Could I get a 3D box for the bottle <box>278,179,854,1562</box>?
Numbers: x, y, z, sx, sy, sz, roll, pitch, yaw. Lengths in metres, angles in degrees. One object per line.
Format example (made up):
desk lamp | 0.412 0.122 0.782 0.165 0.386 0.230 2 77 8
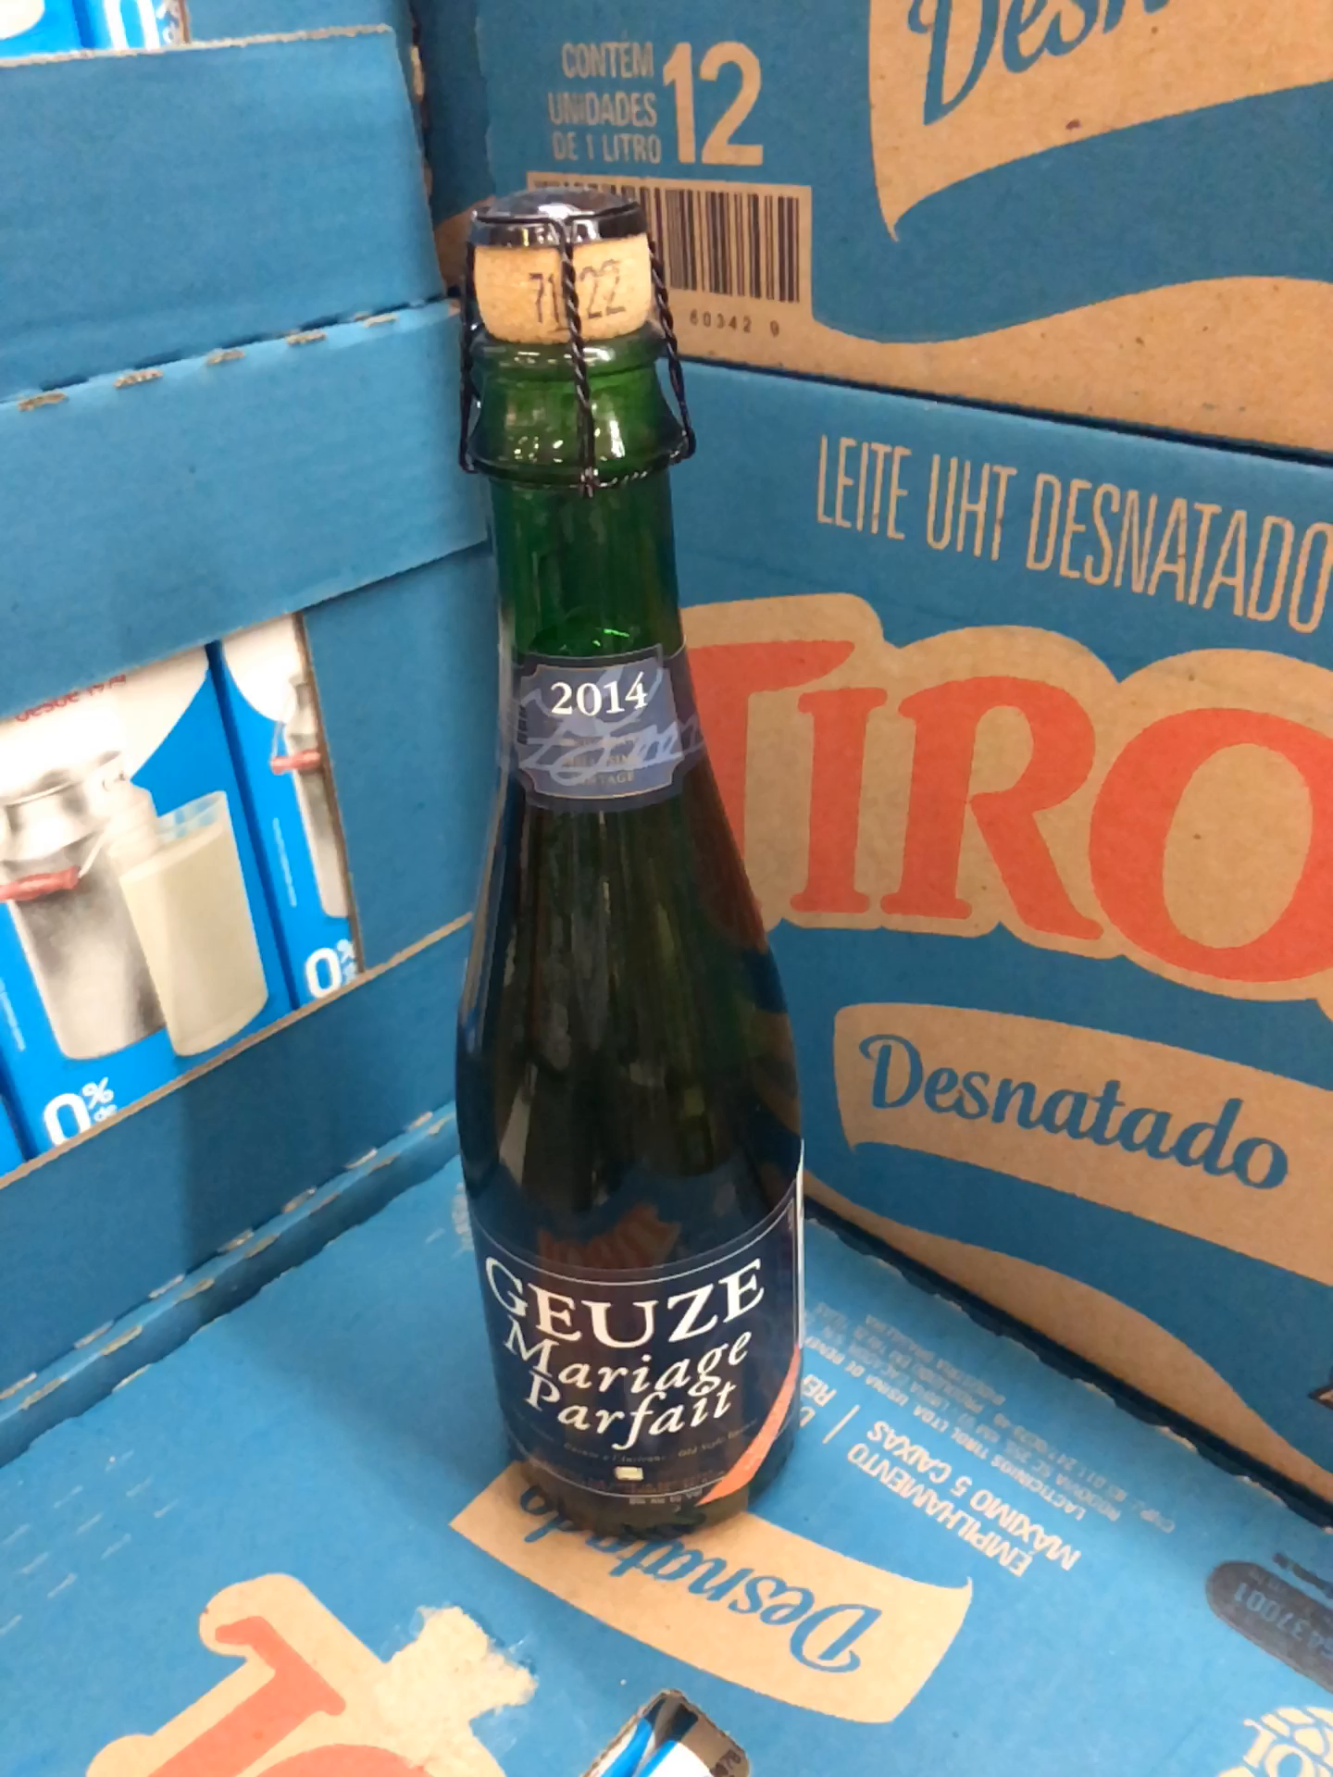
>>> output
bottle | -0.008 0.016 0.273 0.070 0.258 0.060 0 32 2
